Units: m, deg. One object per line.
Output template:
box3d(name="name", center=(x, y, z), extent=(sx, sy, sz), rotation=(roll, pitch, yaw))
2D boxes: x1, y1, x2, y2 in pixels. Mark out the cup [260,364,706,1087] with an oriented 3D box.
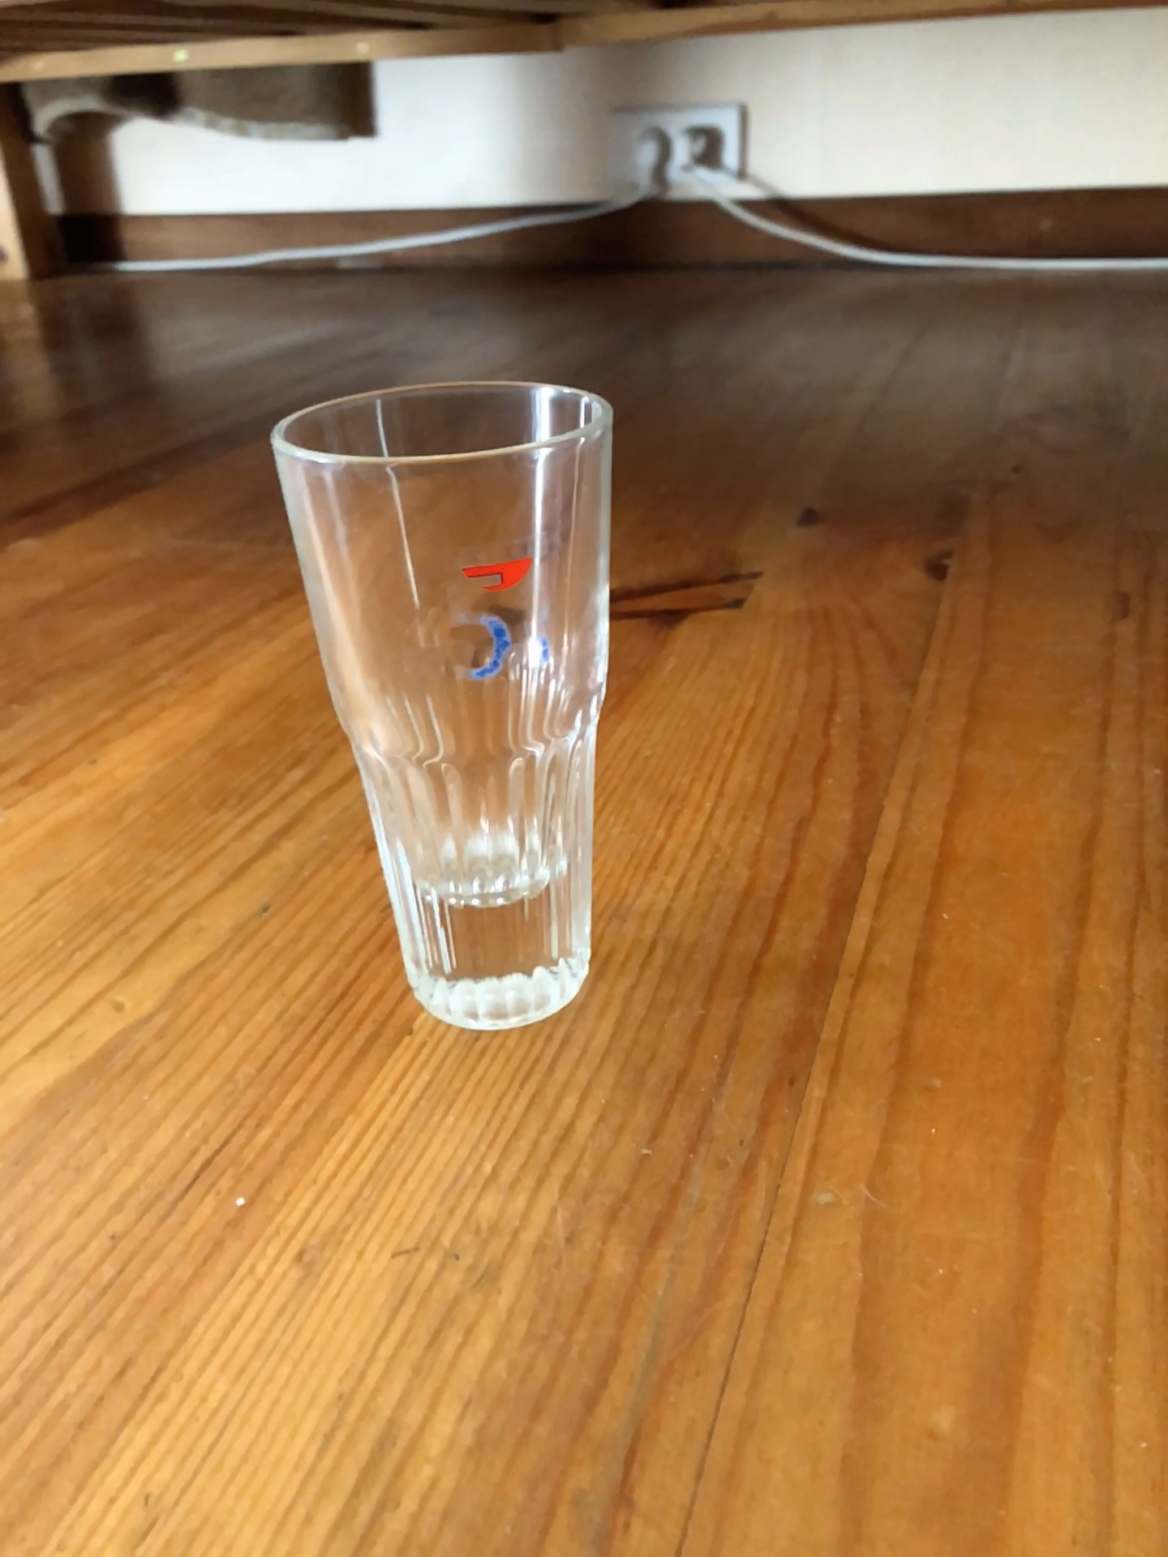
box3d(name="cup", center=(-0.019, -0.014, 0.258), extent=(0.064, 0.117, 0.068), rotation=(-2, 27, 1))
